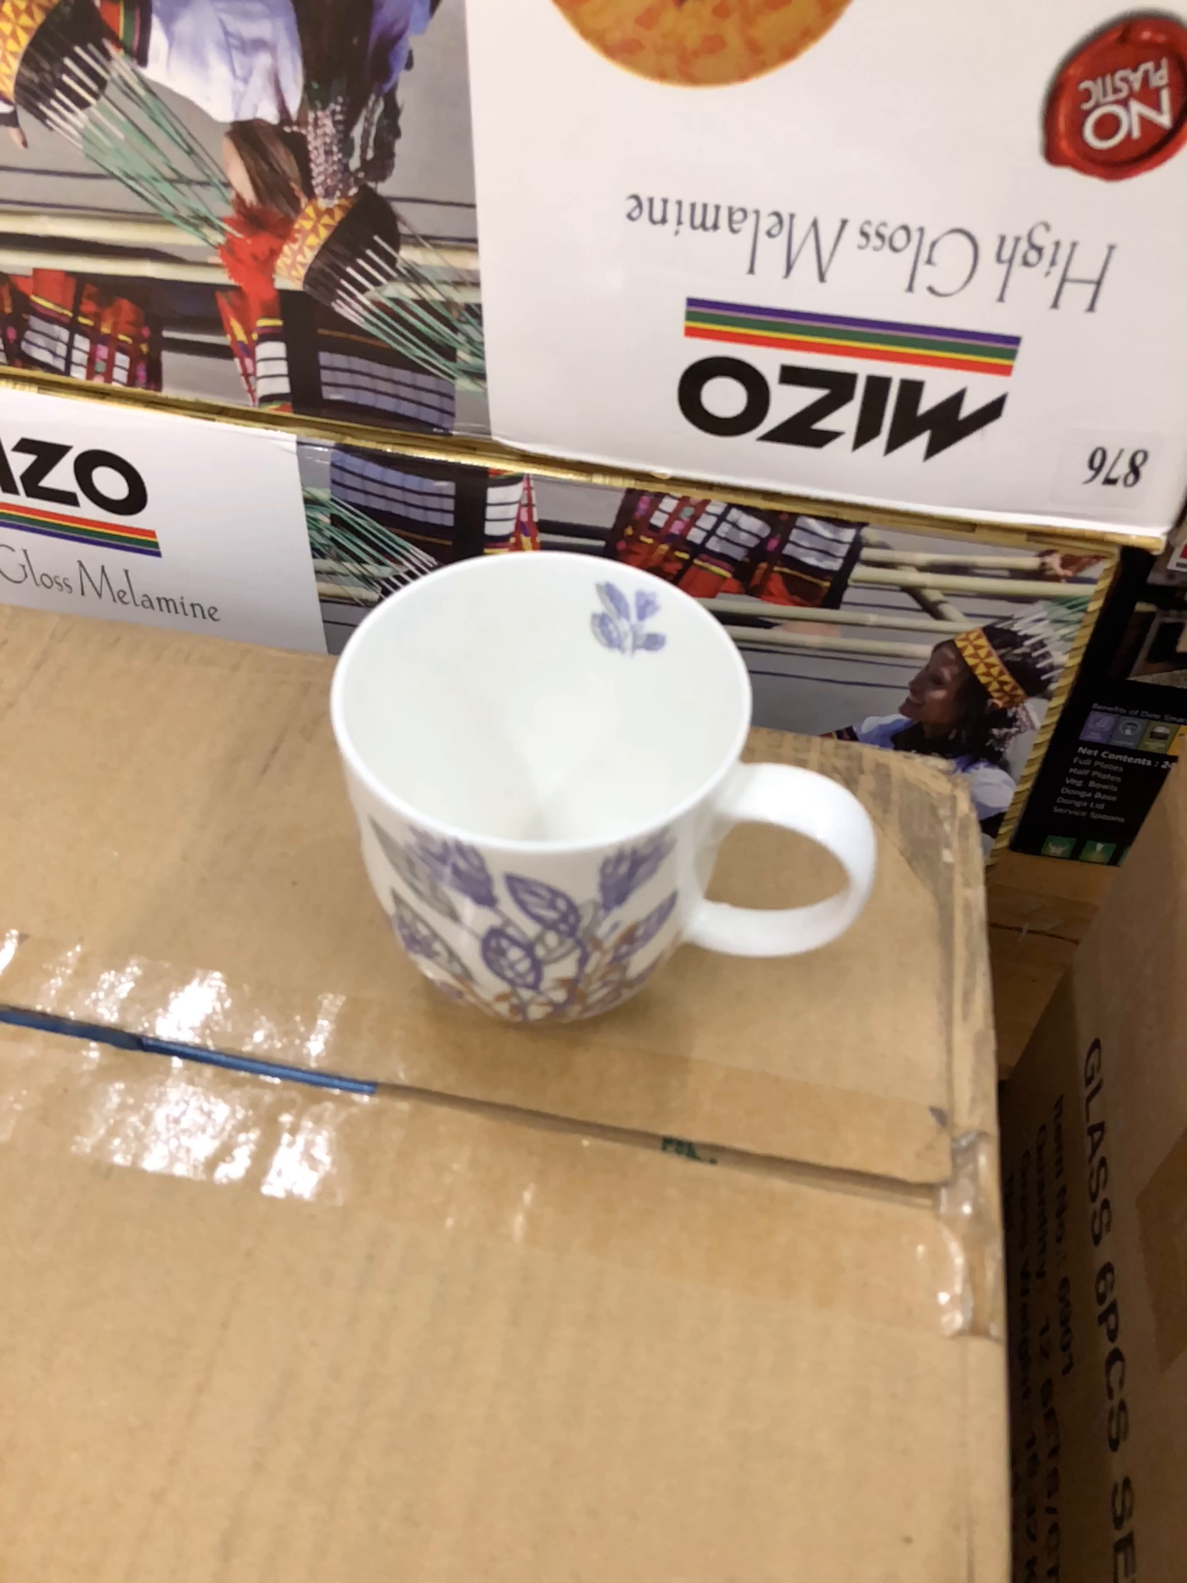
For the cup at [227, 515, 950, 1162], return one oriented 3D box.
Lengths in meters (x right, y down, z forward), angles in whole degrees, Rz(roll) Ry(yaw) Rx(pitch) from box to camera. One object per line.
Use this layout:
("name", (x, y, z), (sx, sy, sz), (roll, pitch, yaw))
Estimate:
("cup", (0.004, 0.007, 0.278), (0.120, 0.070, 0.091), (13, 49, 9))
